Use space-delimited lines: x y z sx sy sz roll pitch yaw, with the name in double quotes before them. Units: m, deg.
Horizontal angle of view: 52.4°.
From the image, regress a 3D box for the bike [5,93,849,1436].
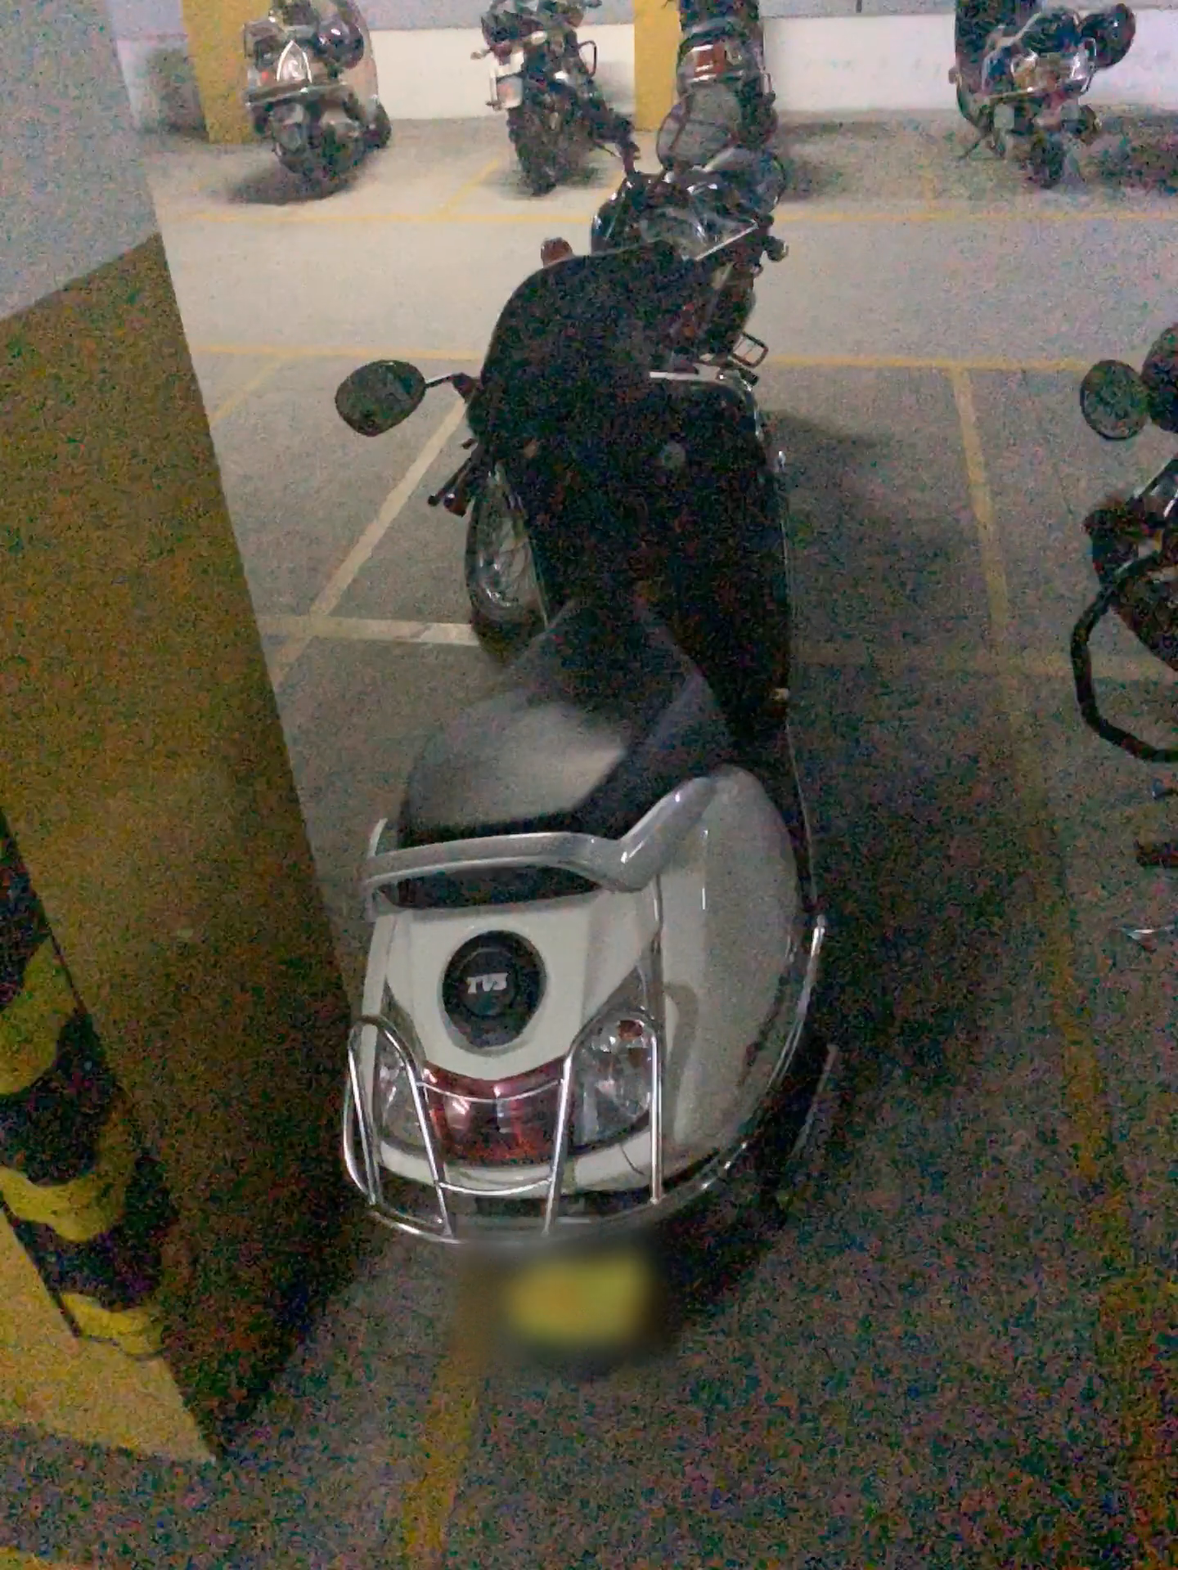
"bike" -0.017 -0.167 1.795 0.648 1.159 1.538 3 41 8
